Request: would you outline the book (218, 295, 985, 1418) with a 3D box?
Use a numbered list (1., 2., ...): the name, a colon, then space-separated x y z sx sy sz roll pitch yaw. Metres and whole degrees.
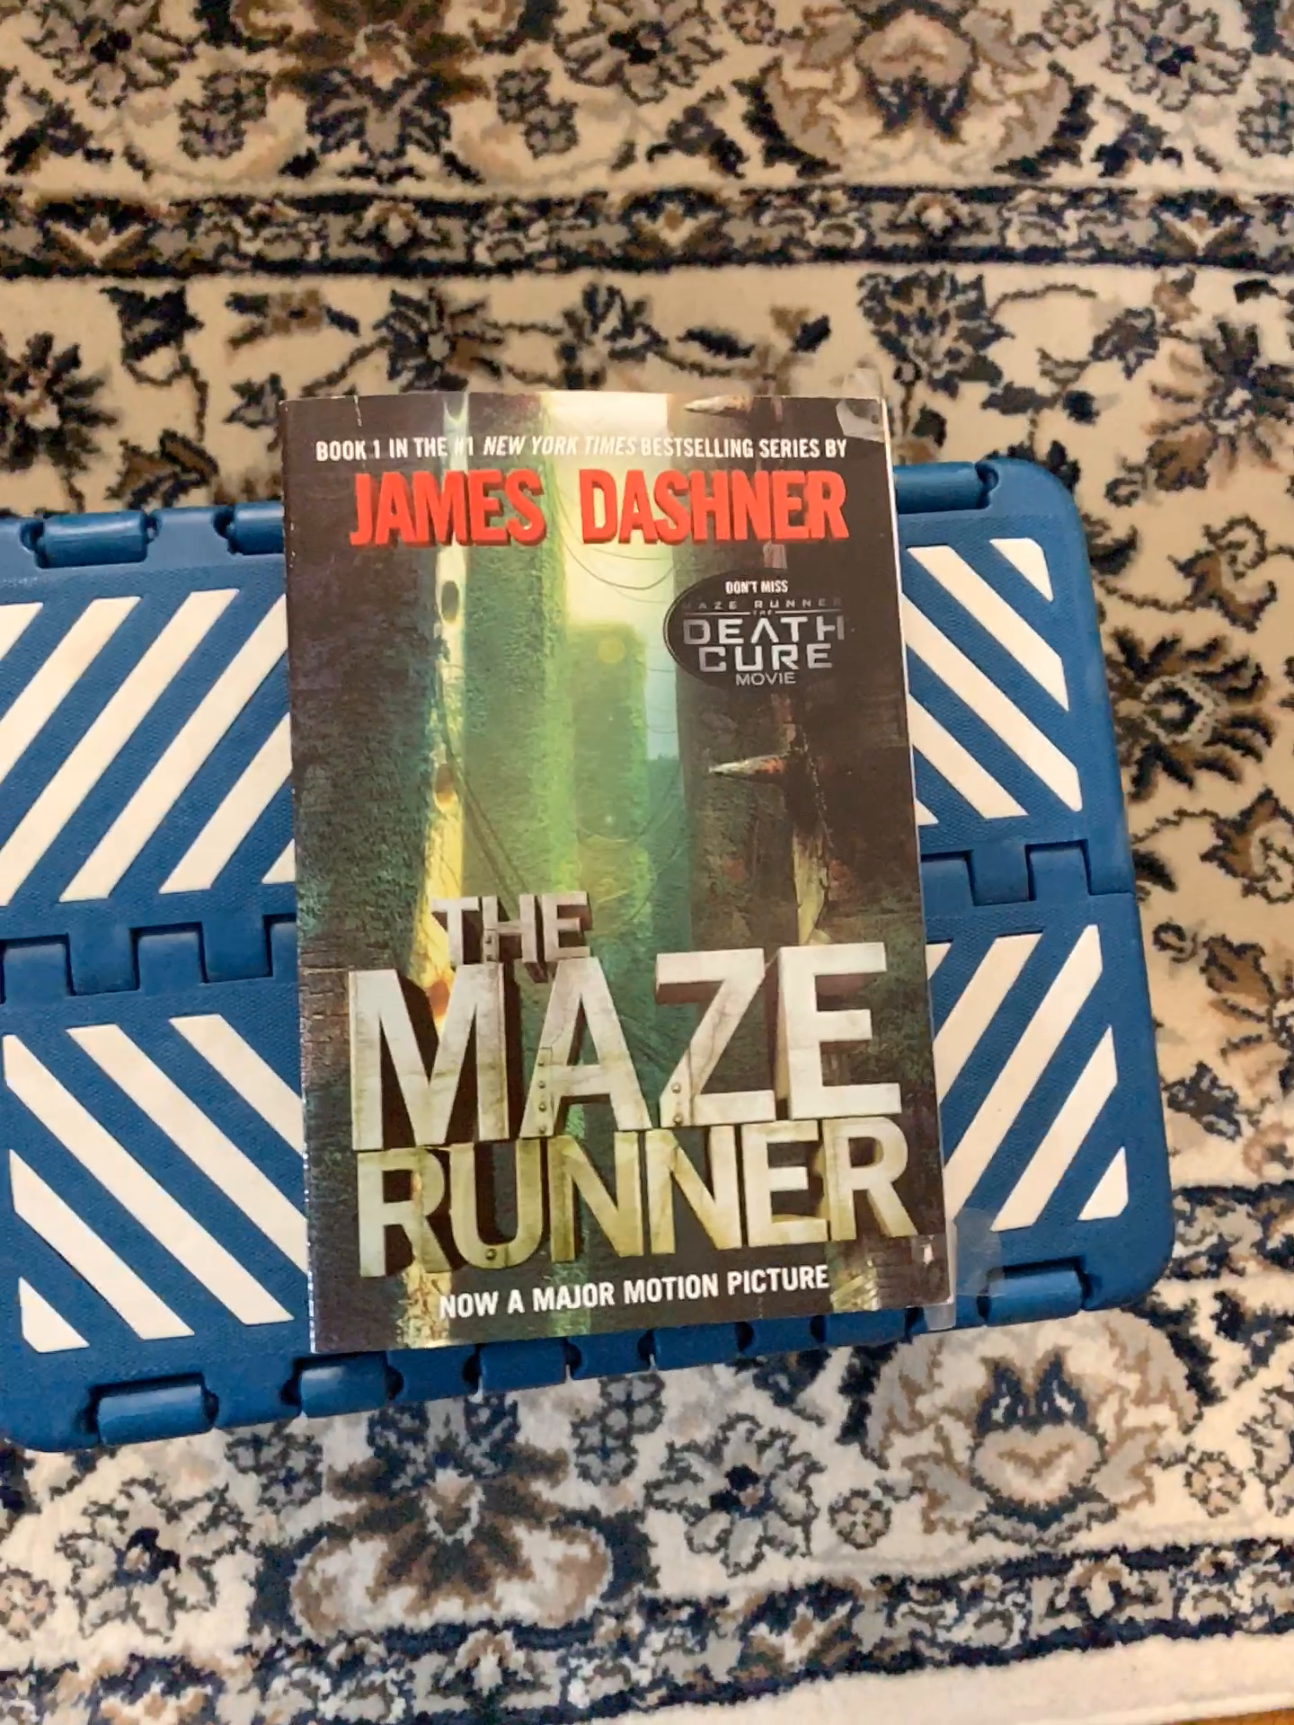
1. book: -0.013 -0.008 0.295 0.150 0.030 0.230 -2 84 -6
